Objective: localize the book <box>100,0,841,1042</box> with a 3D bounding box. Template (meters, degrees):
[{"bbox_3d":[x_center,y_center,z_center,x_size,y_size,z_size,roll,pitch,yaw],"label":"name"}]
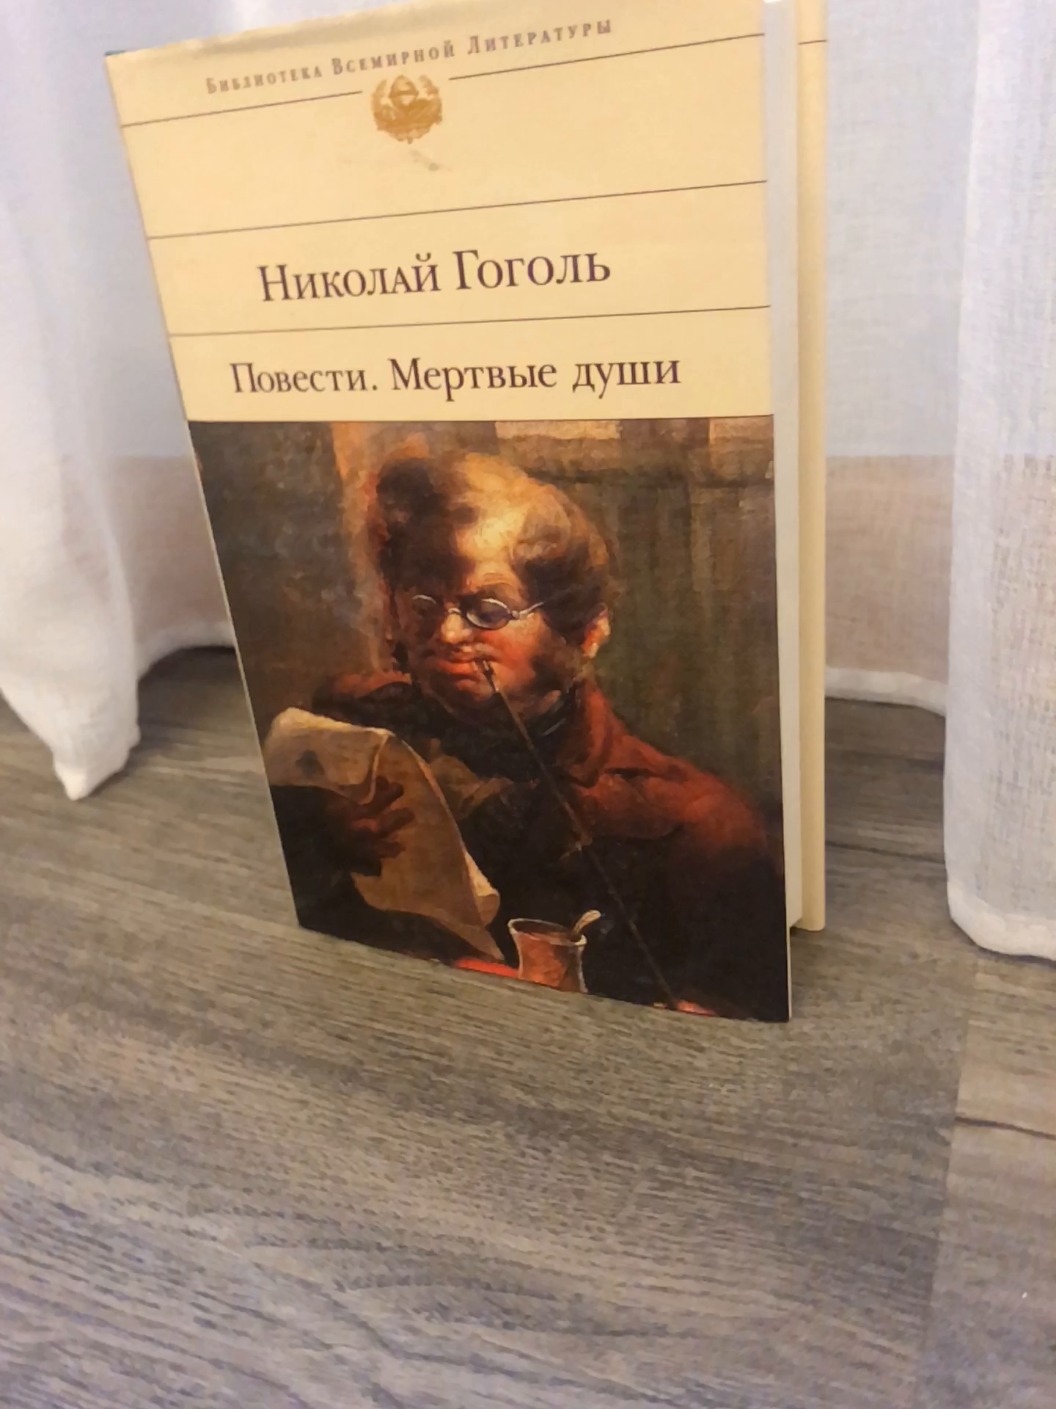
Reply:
[{"bbox_3d":[-0.003,-0.035,0.261,0.133,0.209,0.041,5,27,24],"label":"book"}]
